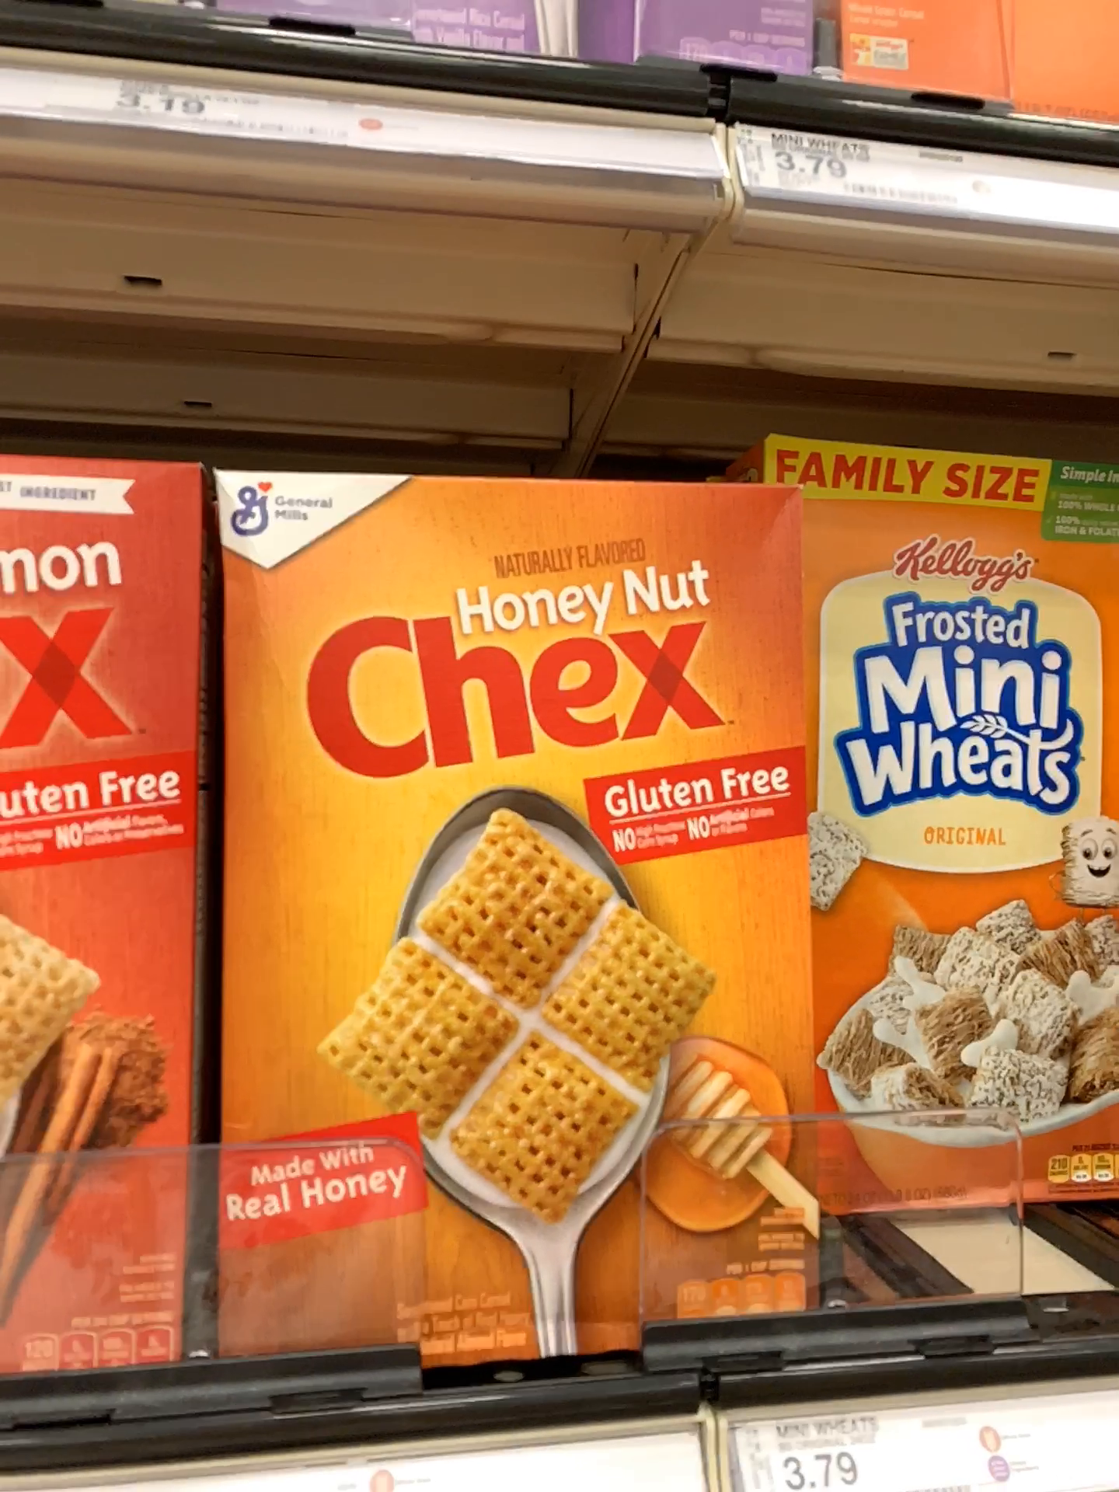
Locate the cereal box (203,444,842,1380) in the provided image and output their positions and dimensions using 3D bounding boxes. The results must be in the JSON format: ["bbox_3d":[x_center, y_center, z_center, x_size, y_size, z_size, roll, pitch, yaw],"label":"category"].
[{"bbox_3d":[-0.012,0.050,0.389,0.200,0.280,0.060,1,0,-11],"label":"cereal box"}]
